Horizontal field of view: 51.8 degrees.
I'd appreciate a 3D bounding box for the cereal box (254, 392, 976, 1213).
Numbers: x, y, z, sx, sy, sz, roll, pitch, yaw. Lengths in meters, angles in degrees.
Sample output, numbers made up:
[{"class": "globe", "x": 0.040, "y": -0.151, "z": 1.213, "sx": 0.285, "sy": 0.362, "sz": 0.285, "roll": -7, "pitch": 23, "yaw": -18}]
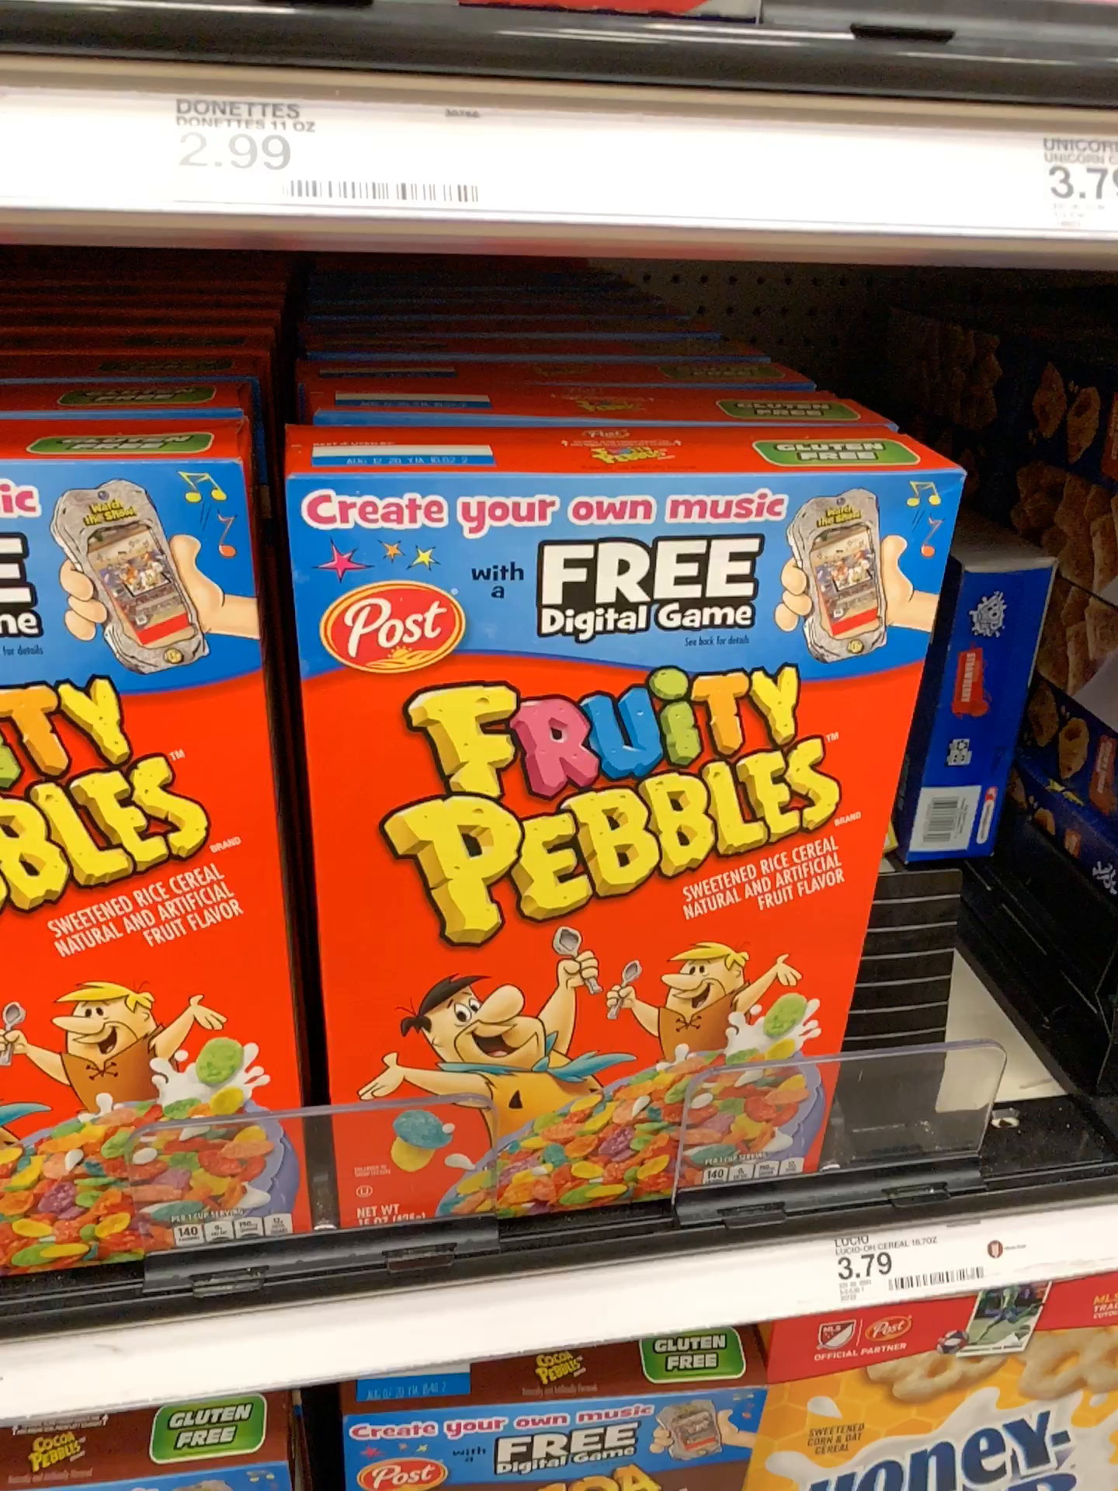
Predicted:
[{"class": "cereal box", "x": 0.010, "y": 0.029, "z": 0.407, "sx": 0.200, "sy": 0.288, "sz": 0.060, "roll": -3, "pitch": 29, "yaw": -10}]
